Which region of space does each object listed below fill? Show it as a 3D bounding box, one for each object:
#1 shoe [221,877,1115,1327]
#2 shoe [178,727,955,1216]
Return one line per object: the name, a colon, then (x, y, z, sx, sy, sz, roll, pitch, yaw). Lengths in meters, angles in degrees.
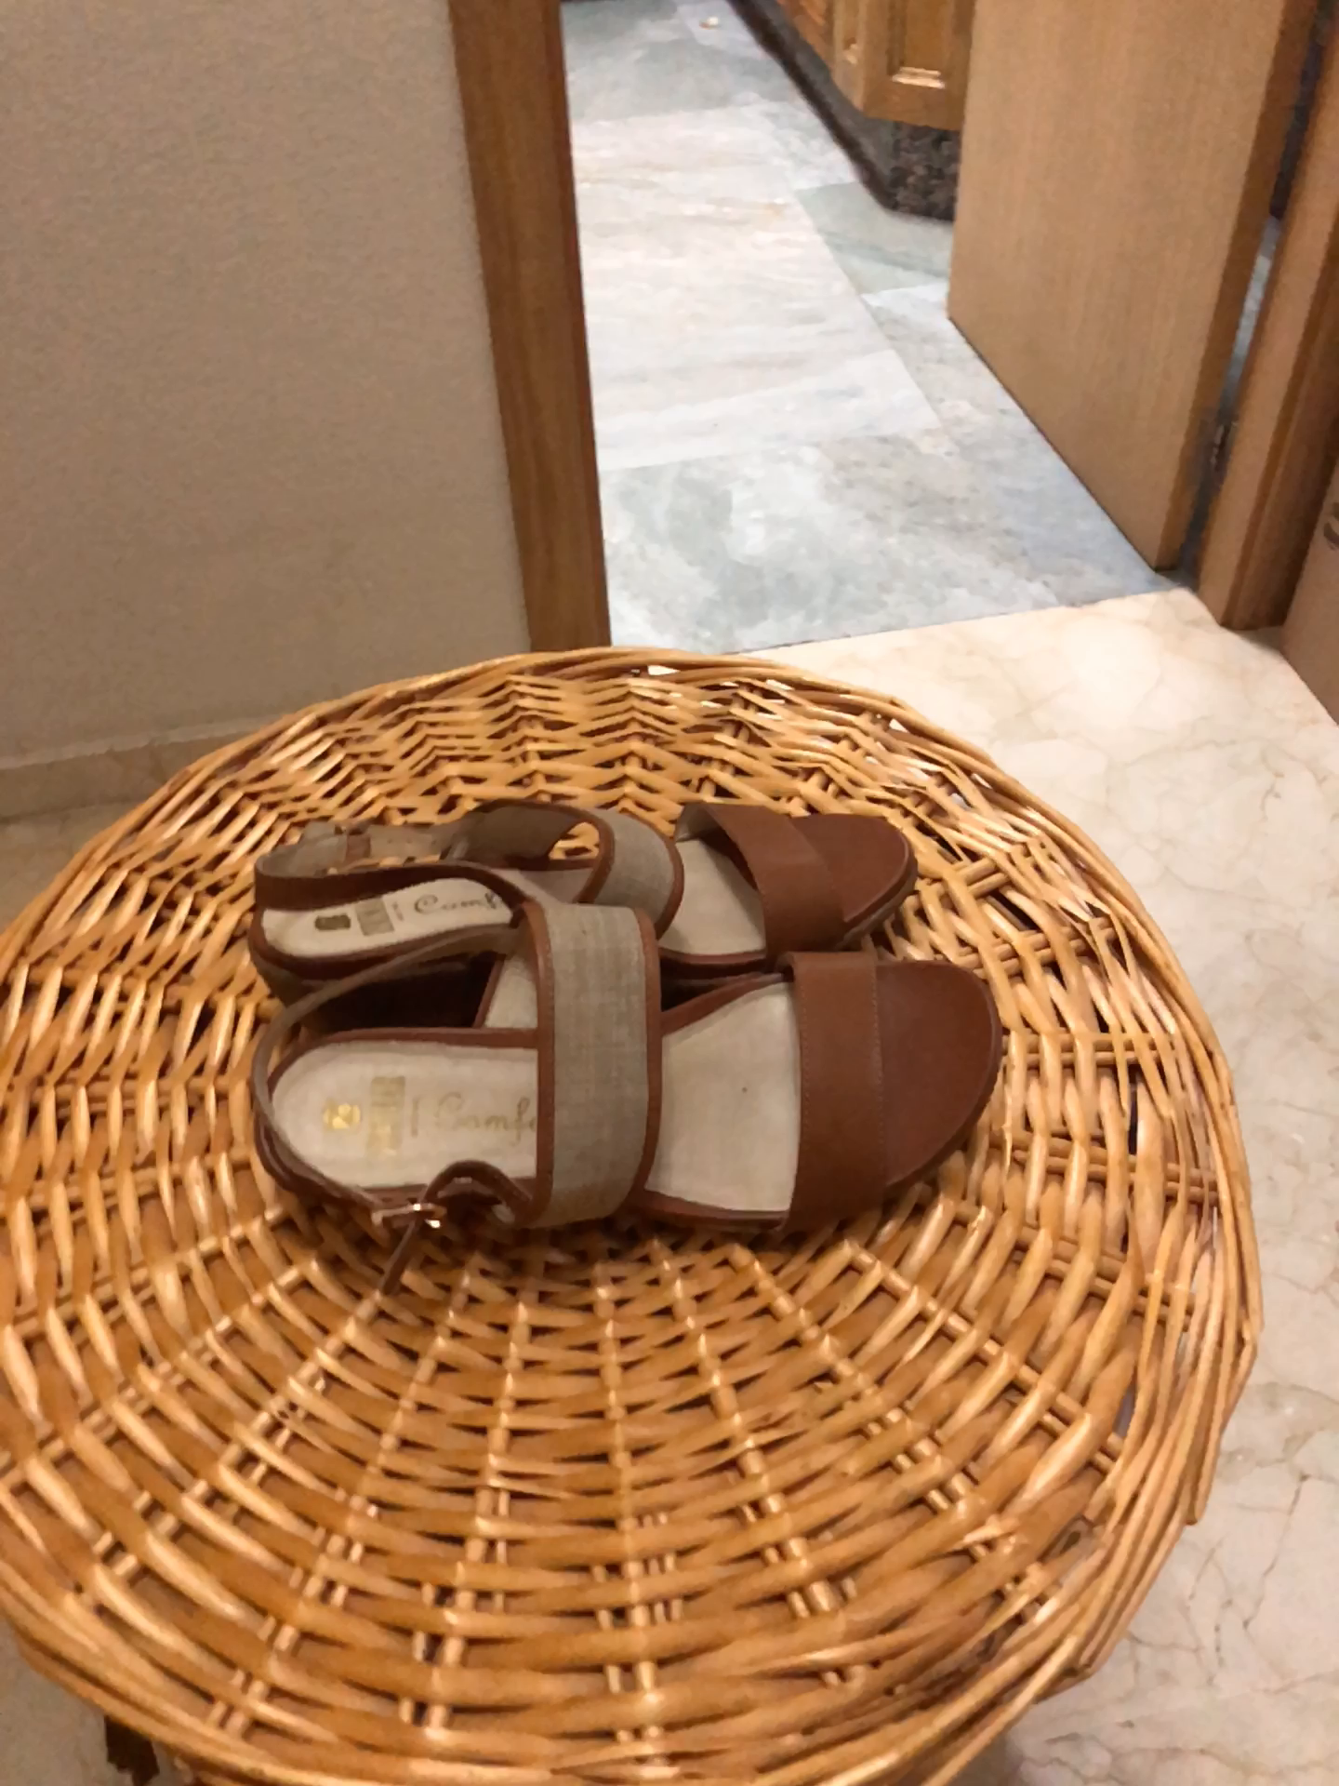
shoe: (-0.004, 0.070, 0.498, 0.270, 0.070, 0.100, -6, 61, -3)
shoe: (-0.038, 0.027, 0.571, 0.270, 0.090, 0.090, -14, 47, -10)
